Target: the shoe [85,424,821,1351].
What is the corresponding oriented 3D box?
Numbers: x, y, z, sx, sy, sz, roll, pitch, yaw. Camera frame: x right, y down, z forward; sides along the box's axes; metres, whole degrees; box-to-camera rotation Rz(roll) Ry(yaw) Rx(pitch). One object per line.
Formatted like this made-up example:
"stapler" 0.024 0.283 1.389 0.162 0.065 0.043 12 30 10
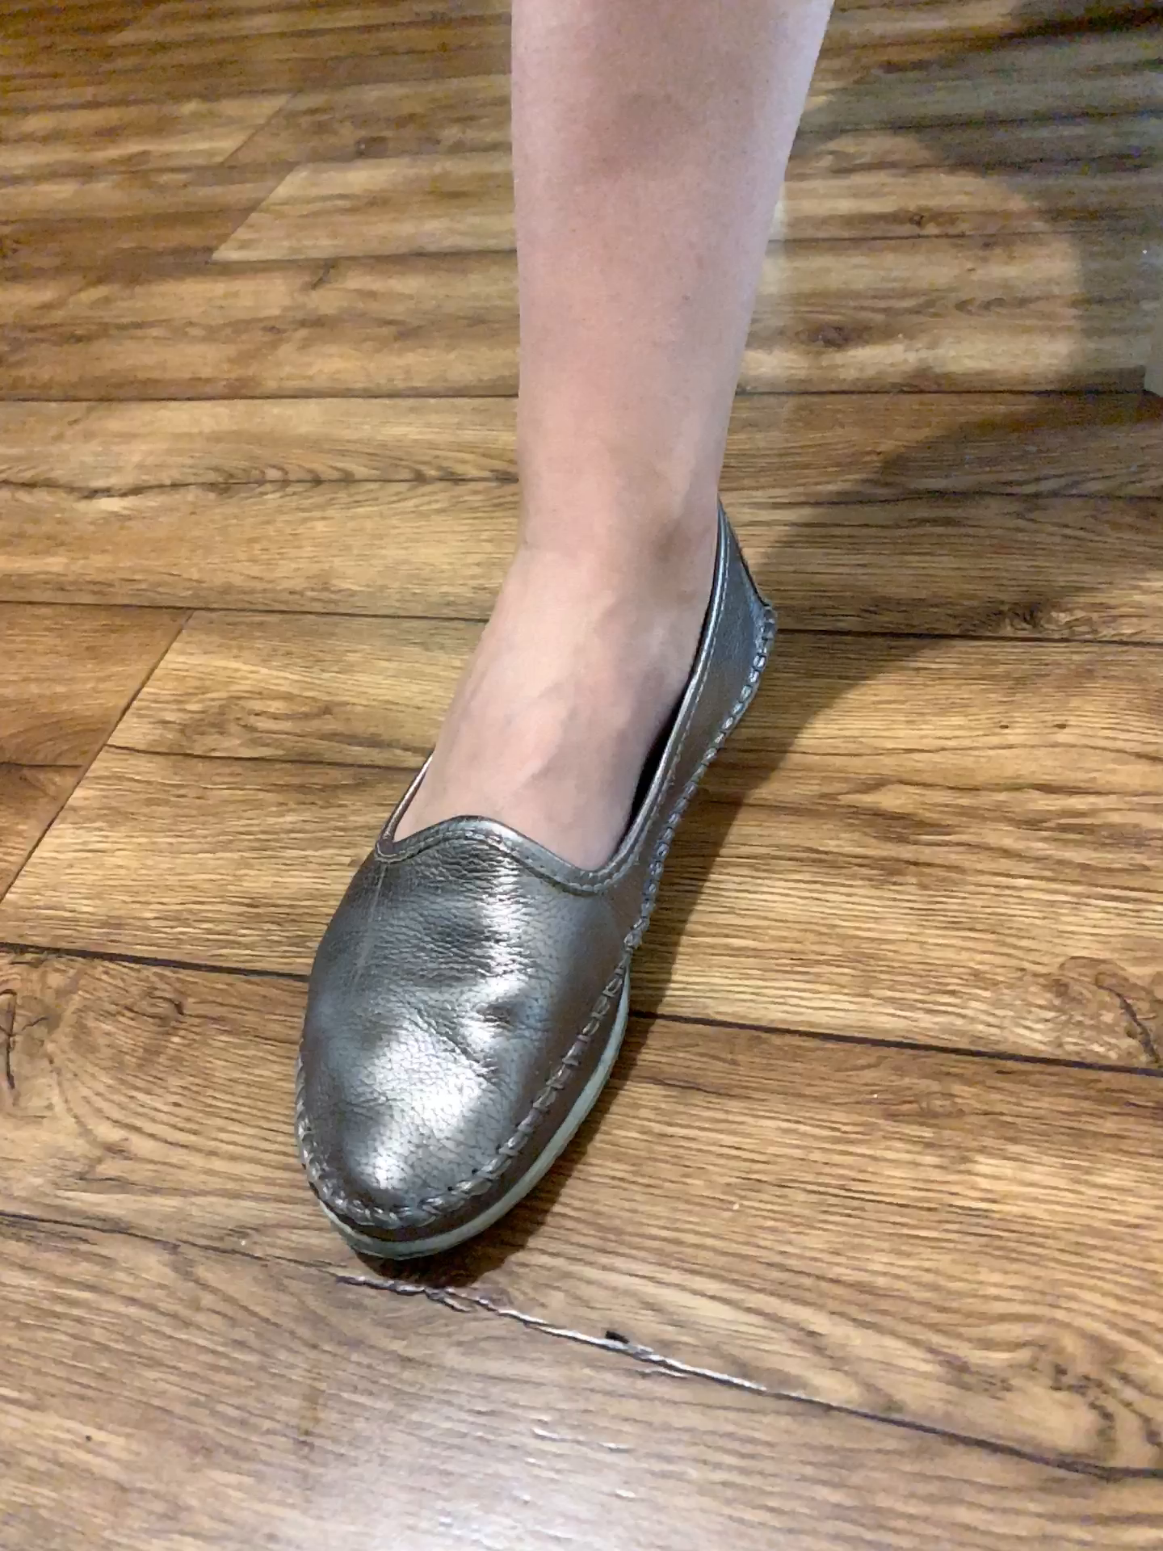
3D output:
"shoe" -0.015 0.012 0.324 0.095 0.070 0.231 12 58 22
